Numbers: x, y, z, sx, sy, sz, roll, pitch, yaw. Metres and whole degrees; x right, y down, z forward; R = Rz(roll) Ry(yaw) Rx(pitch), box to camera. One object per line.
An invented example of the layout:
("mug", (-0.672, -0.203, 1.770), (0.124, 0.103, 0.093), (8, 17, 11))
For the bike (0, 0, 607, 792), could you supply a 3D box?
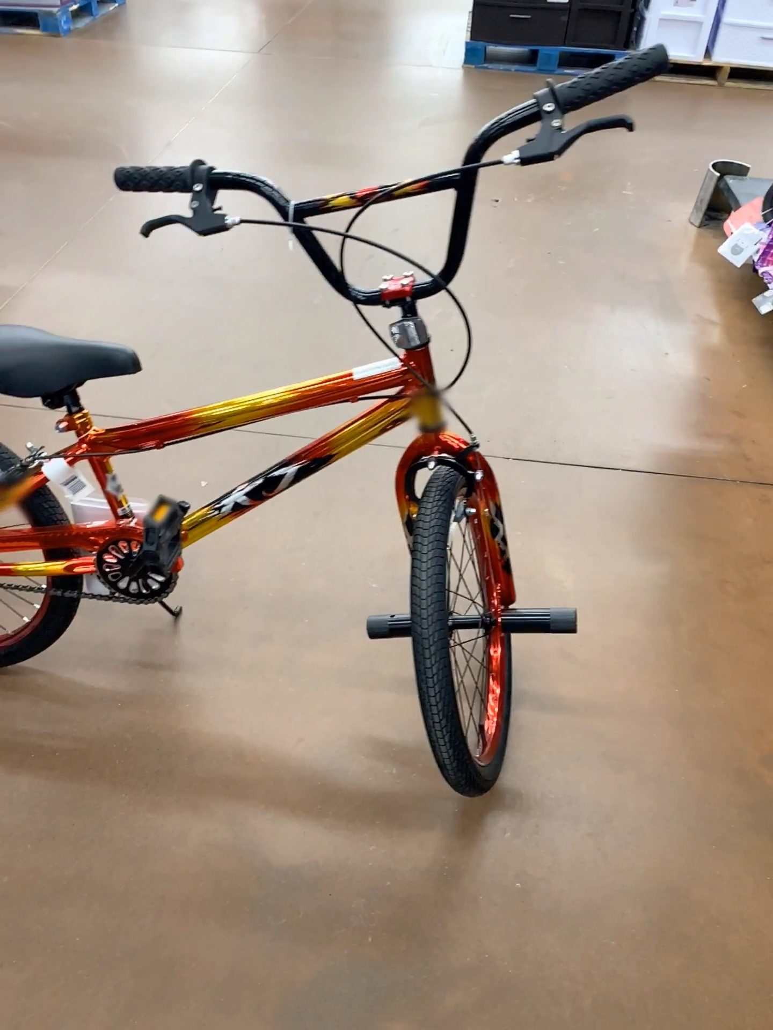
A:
("bike", (-0.372, -0.221, 1.160), (1.122, 0.925, 0.707), (-2, 41, -4))
